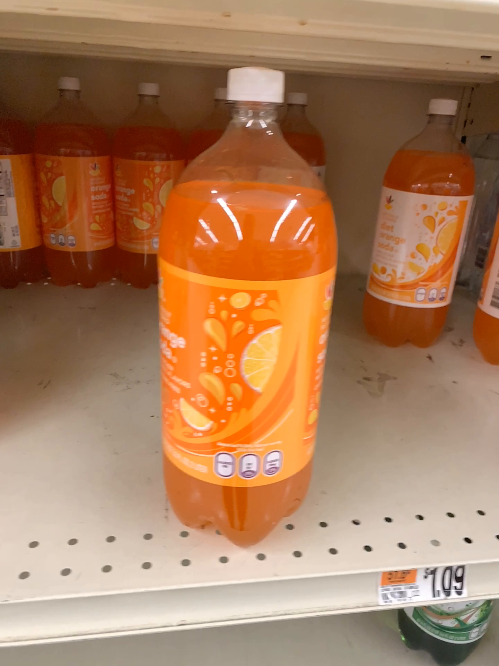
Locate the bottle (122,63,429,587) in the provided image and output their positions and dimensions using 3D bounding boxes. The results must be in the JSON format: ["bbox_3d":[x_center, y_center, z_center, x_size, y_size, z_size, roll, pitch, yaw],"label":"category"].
[{"bbox_3d":[0.003,-0.007,0.331,0.120,0.288,0.110,3,25,-1],"label":"bottle"}]
